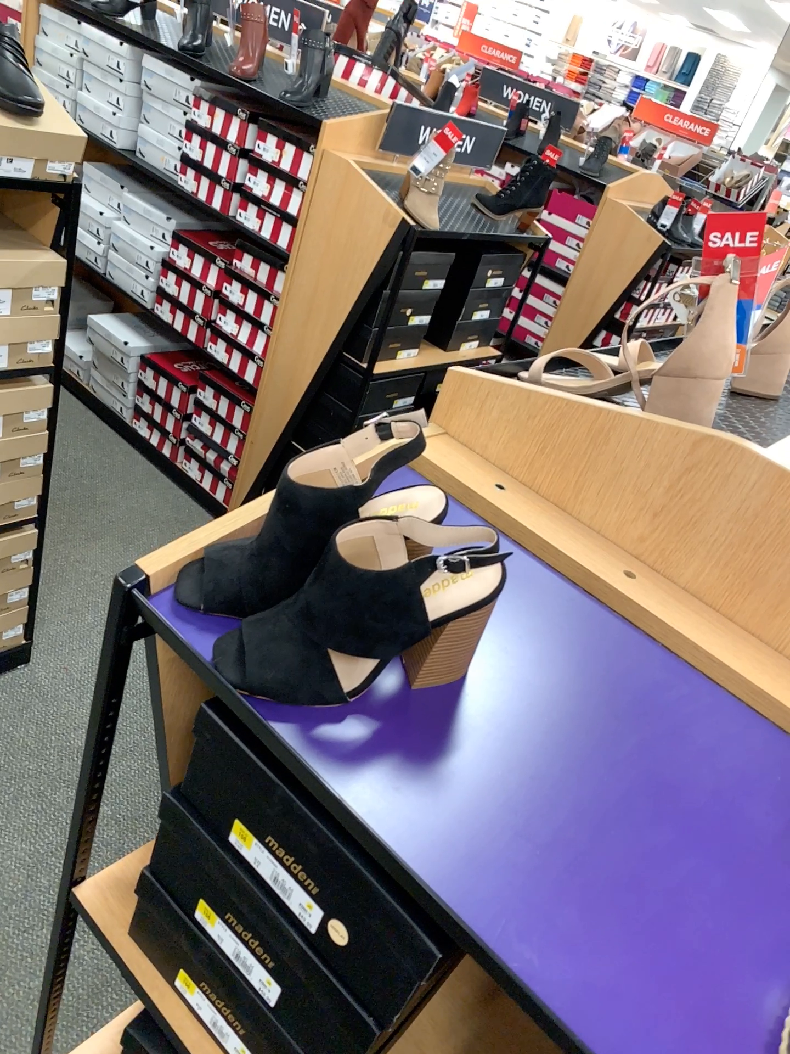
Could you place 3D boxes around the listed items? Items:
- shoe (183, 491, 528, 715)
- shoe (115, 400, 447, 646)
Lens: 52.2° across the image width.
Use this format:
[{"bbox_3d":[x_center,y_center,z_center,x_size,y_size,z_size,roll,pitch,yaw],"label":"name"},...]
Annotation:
[{"bbox_3d":[-0.030,0.051,0.573,0.220,0.109,0.080,-5,36,-10],"label":"shoe"},{"bbox_3d":[-0.078,-0.003,0.621,0.220,0.139,0.080,-8,34,-3],"label":"shoe"}]
